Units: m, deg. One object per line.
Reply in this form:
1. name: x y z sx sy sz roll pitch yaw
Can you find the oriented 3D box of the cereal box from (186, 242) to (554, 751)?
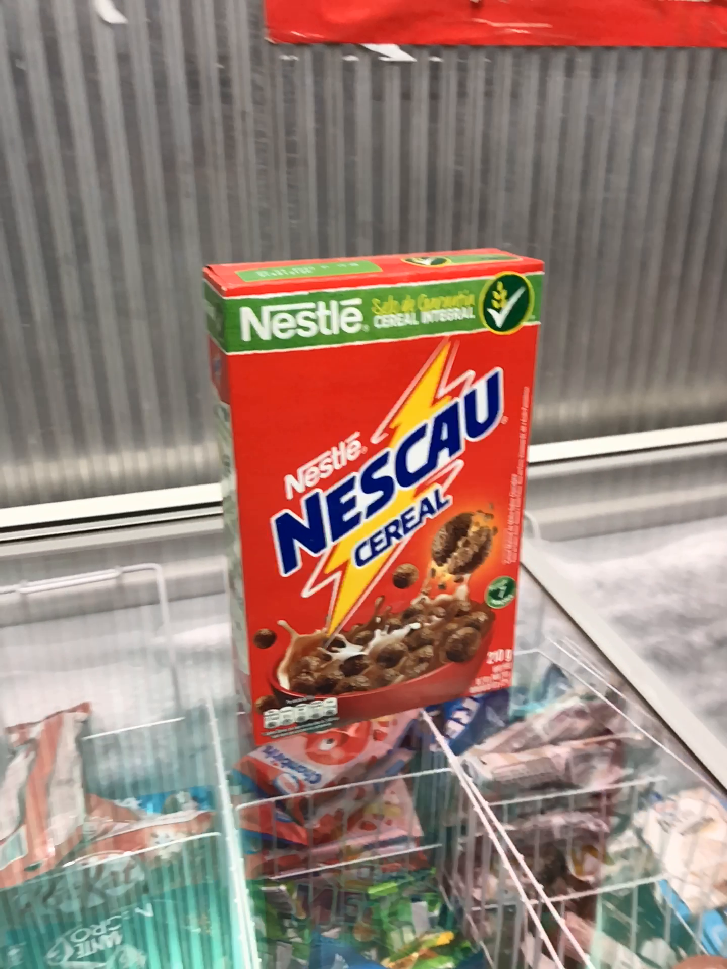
1. cereal box: 0.004 0.009 0.440 0.170 0.258 0.050 -8 25 -16
